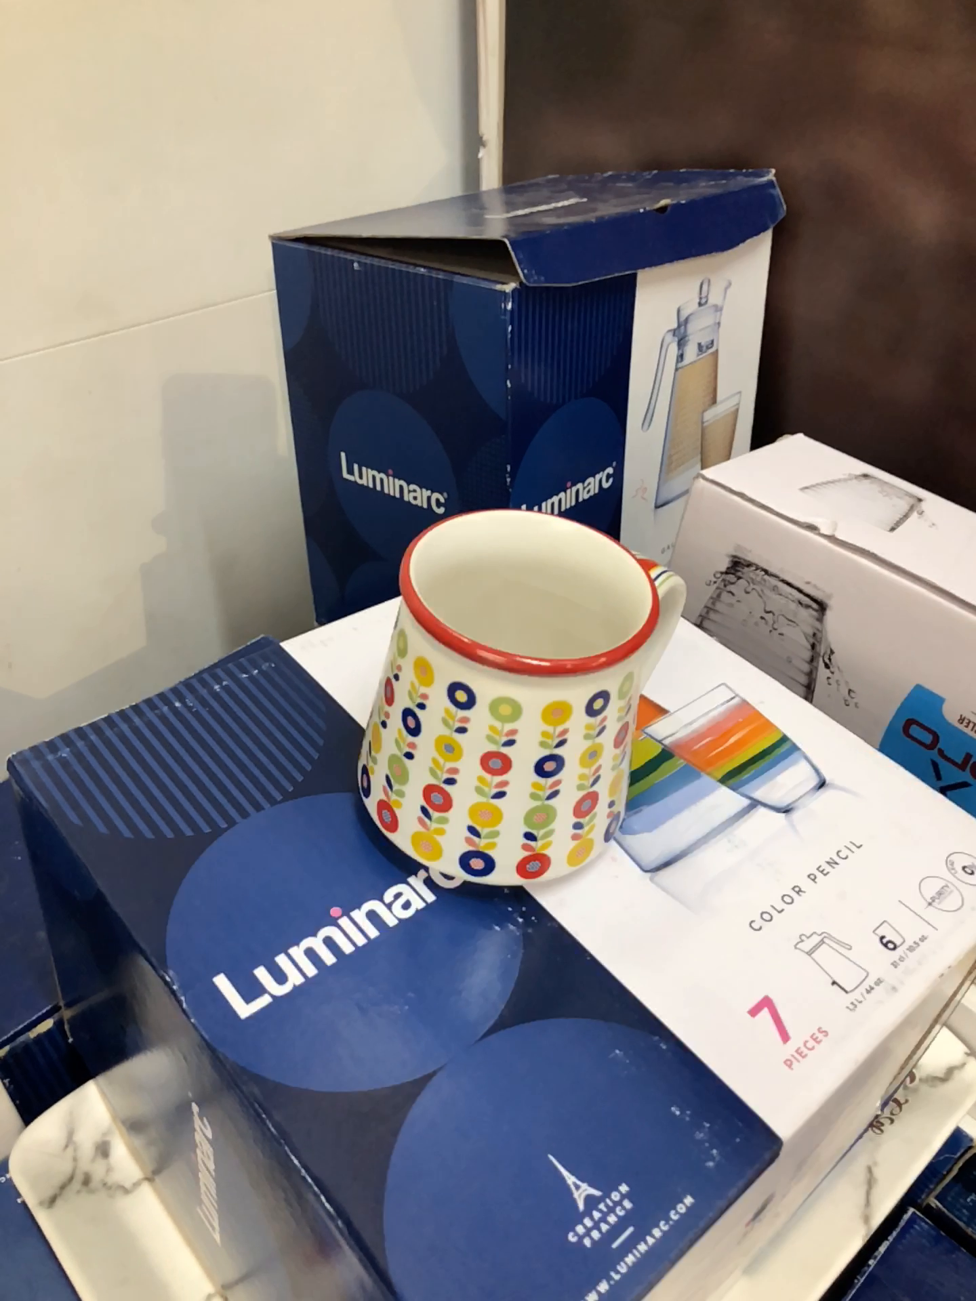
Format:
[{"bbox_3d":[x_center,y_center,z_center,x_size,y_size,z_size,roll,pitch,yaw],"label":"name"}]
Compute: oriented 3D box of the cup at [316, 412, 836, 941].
[{"bbox_3d":[0.024,0.001,0.332,0.131,0.089,0.080,-29,52,-35],"label":"cup"}]
